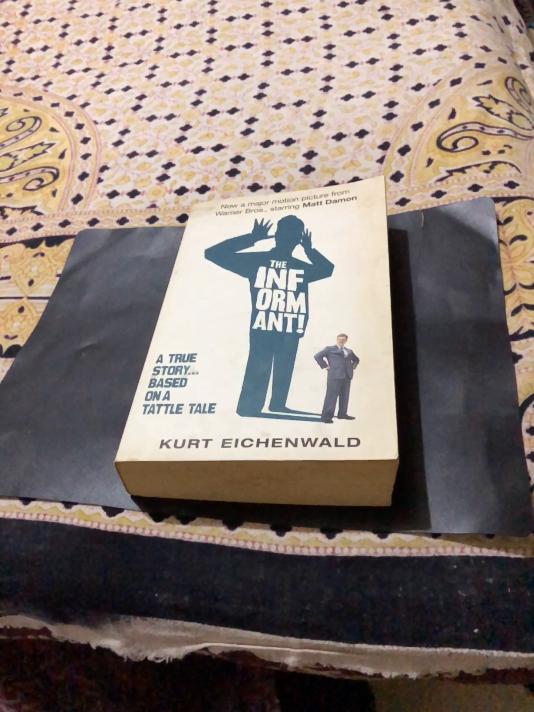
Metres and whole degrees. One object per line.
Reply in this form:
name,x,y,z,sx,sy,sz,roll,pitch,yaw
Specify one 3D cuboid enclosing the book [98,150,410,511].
book,0.008,-0.028,0.351,0.140,0.050,0.230,-2,50,13
